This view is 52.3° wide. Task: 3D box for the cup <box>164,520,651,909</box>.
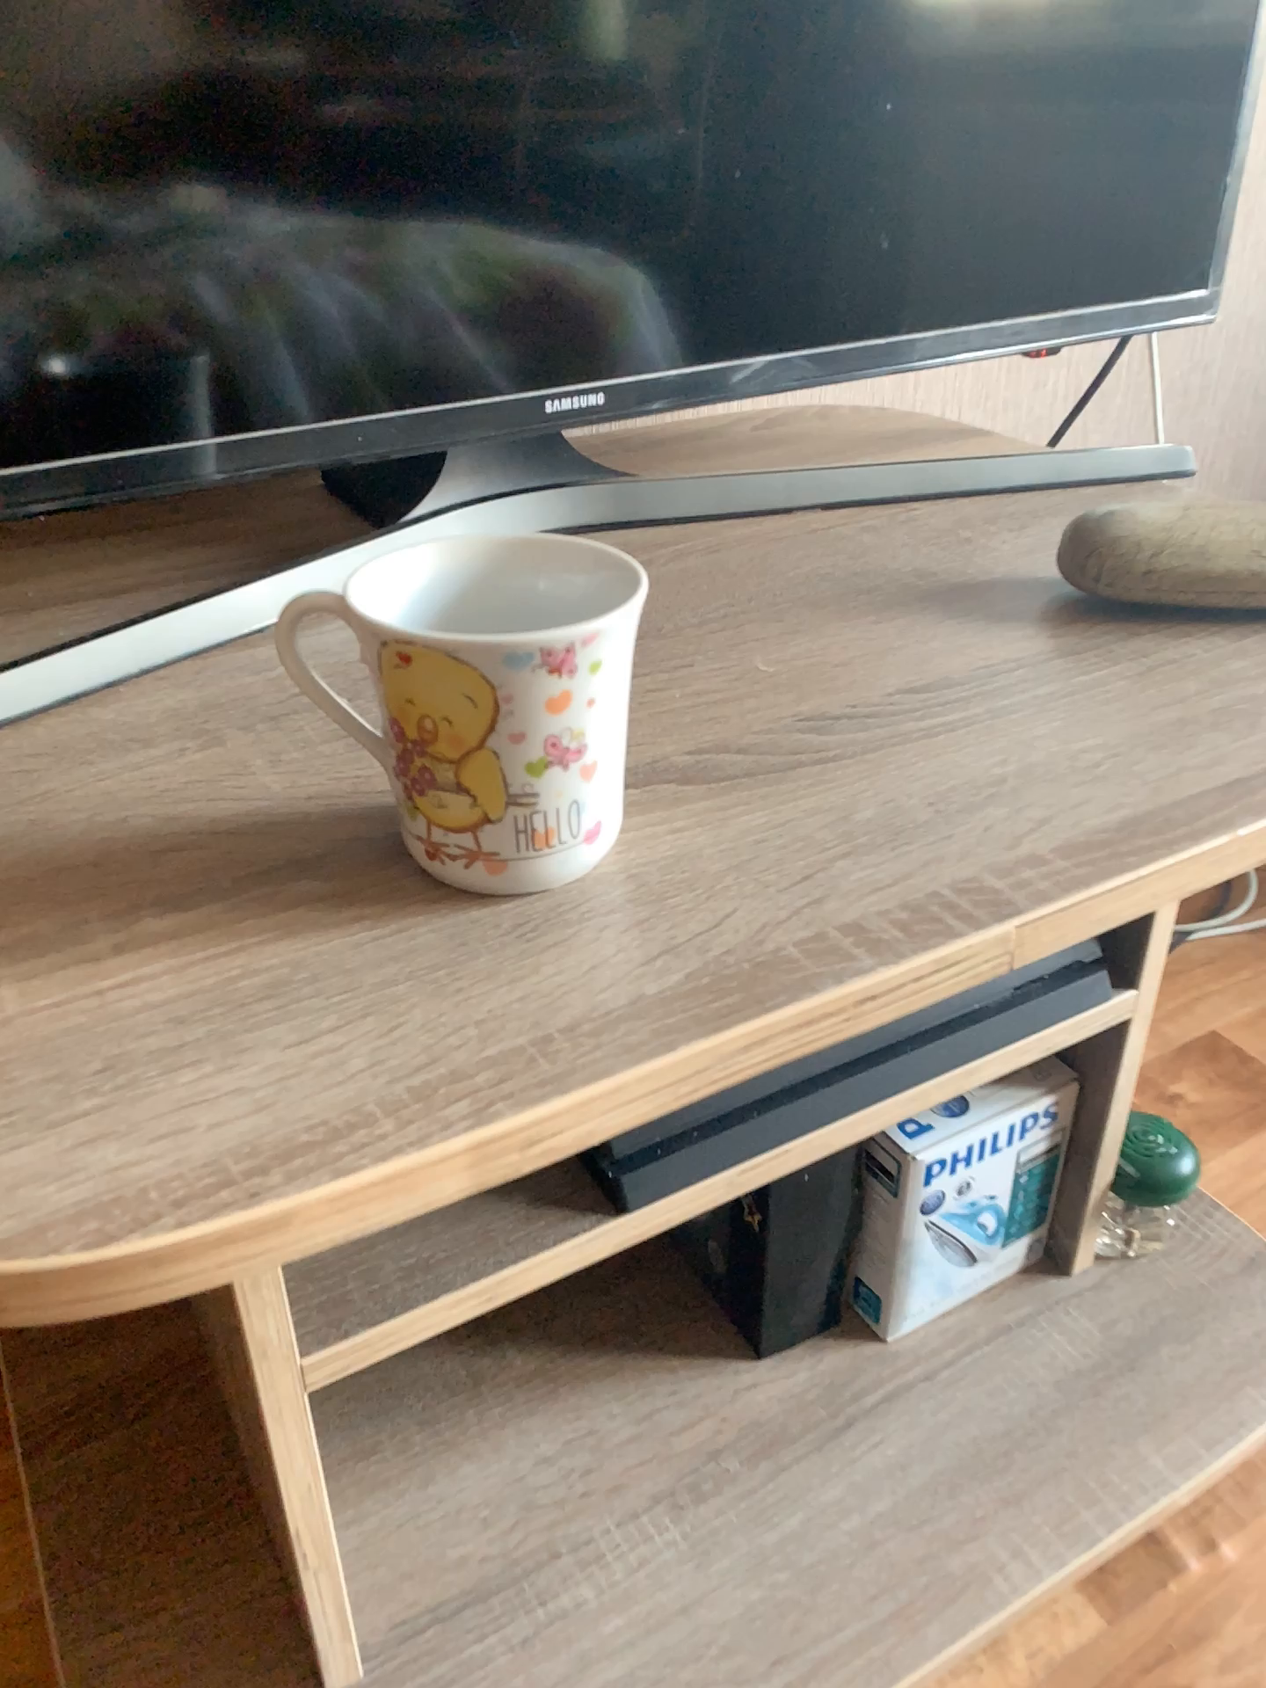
[{"bbox_3d":[-0.054,-0.039,0.357,0.110,0.080,0.070,4,30,7],"label":"cup"}]
